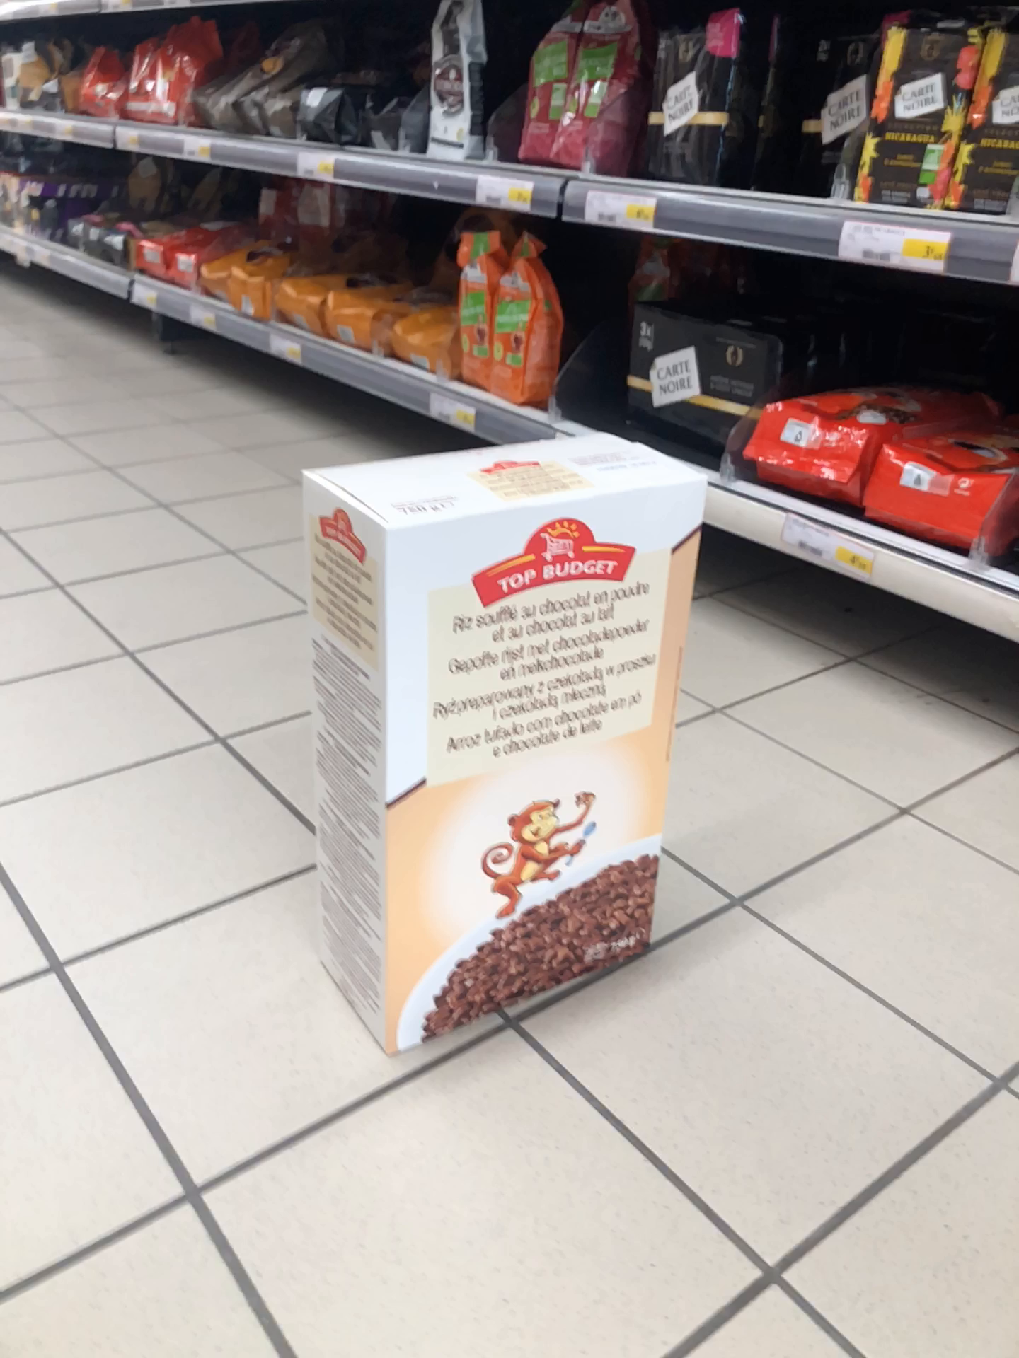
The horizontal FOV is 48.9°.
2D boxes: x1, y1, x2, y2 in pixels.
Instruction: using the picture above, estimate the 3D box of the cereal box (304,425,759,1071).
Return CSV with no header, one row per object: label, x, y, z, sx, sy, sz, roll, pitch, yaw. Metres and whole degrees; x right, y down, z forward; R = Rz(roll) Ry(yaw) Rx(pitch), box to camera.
cereal box,0.006,0.033,0.650,0.211,0.318,0.110,-13,30,-29
